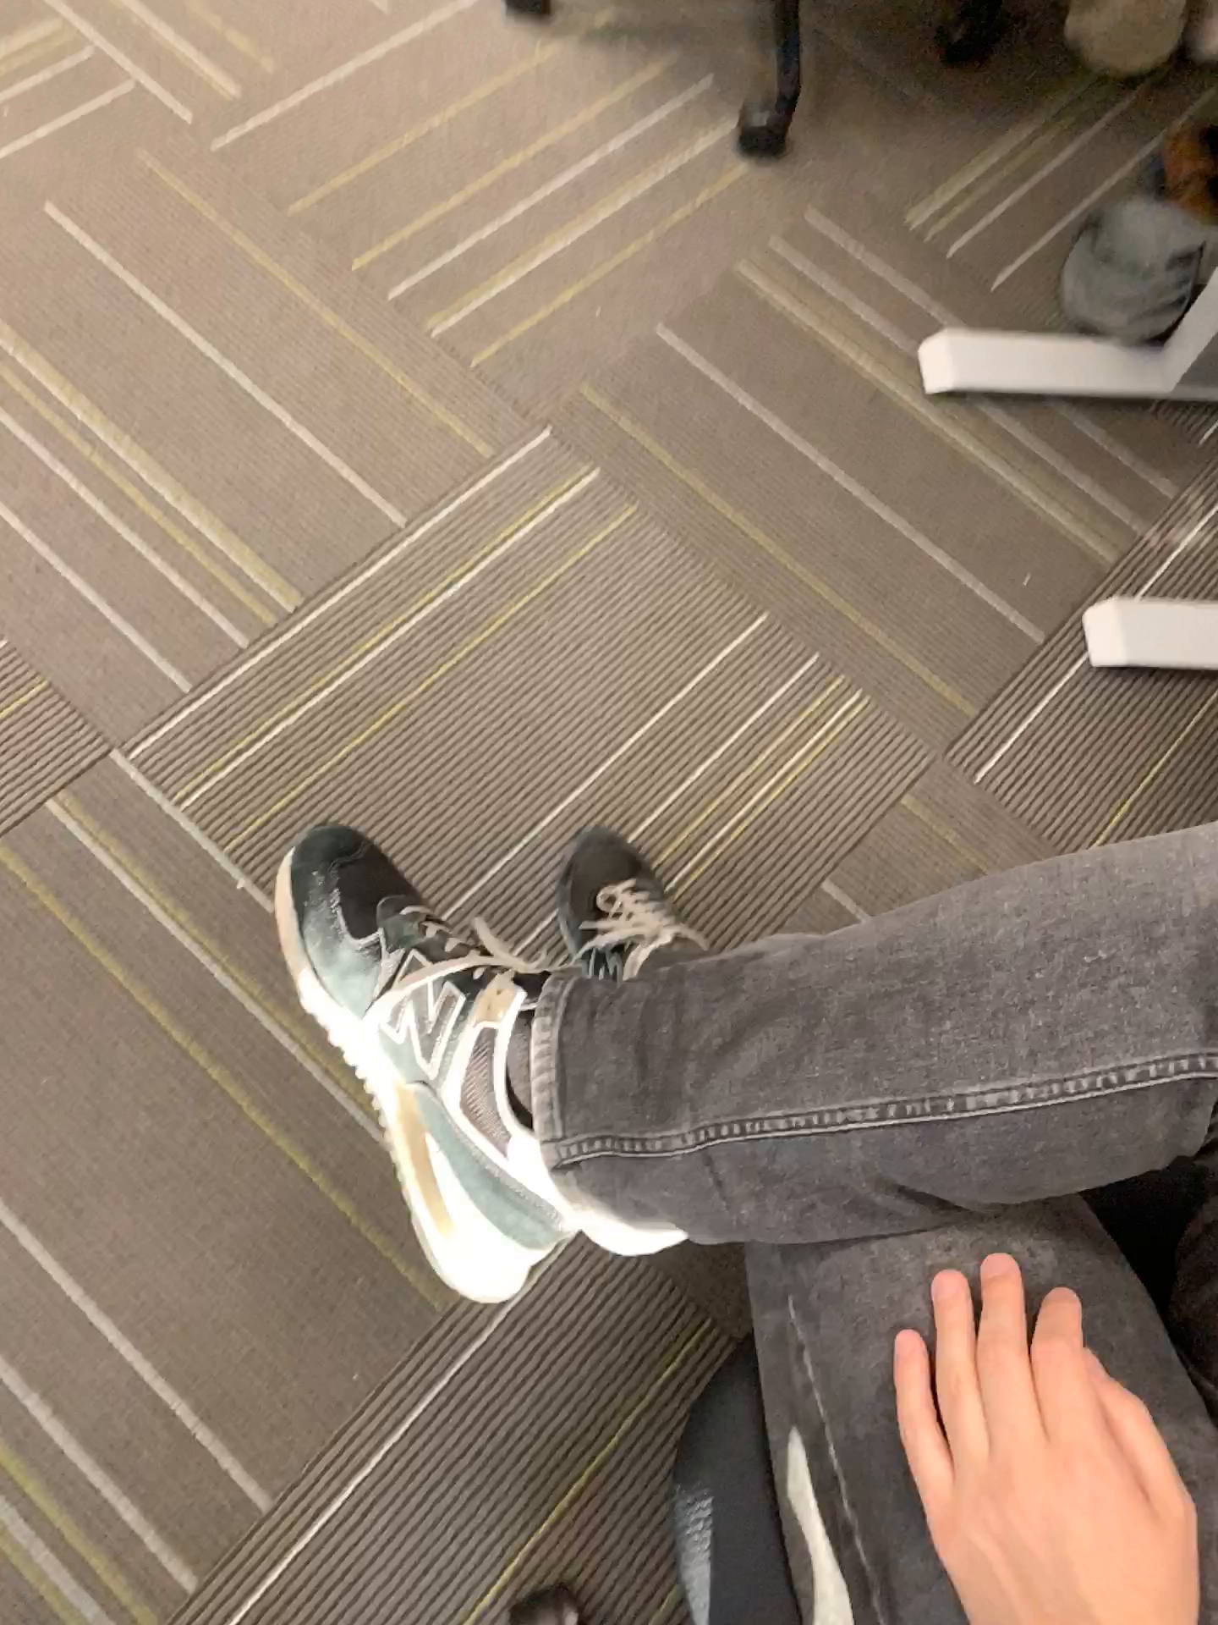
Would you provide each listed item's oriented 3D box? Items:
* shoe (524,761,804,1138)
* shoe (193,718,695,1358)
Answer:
[{"bbox_3d":[0.041,0.128,1.163,0.115,0.133,0.305,-22,72,-16],"label":"shoe"},{"bbox_3d":[-0.096,0.117,0.708,0.133,0.115,0.305,-33,72,18],"label":"shoe"}]
